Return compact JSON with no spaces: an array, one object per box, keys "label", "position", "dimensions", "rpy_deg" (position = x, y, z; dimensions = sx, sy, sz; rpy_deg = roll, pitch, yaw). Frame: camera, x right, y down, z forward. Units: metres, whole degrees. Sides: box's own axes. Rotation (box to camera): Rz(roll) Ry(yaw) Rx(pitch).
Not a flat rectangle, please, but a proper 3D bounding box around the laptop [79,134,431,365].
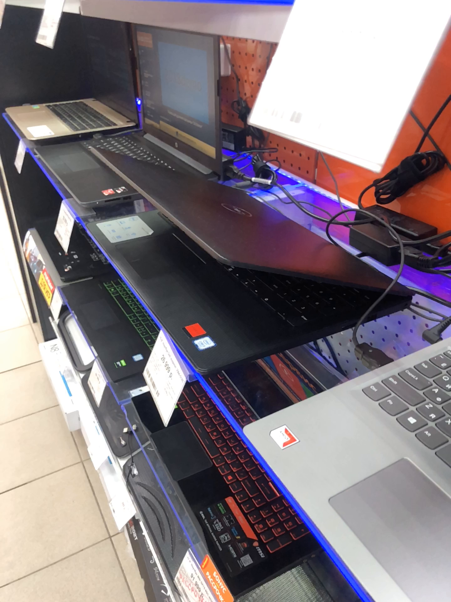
[{"label":"laptop","position":[0.000,-0.099,0.588],"dimensions":[0.238,0.100,0.372],"rpy_deg":[-16,34,-24]}]
